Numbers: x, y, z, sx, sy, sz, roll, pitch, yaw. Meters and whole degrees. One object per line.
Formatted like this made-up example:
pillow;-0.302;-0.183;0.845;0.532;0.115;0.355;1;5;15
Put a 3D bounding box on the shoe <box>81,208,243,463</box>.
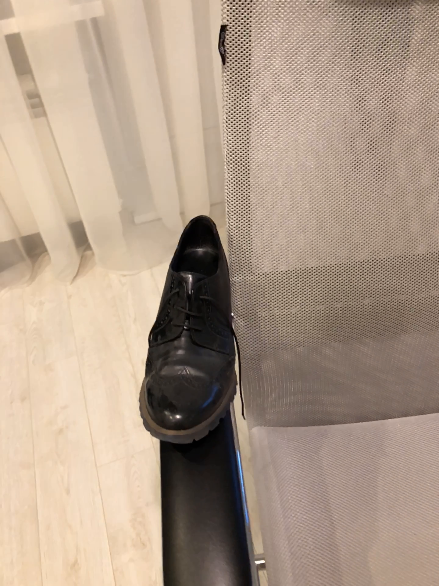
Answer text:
shoe;-0.037;0.025;0.490;0.100;0.119;0.252;-1;35;7
